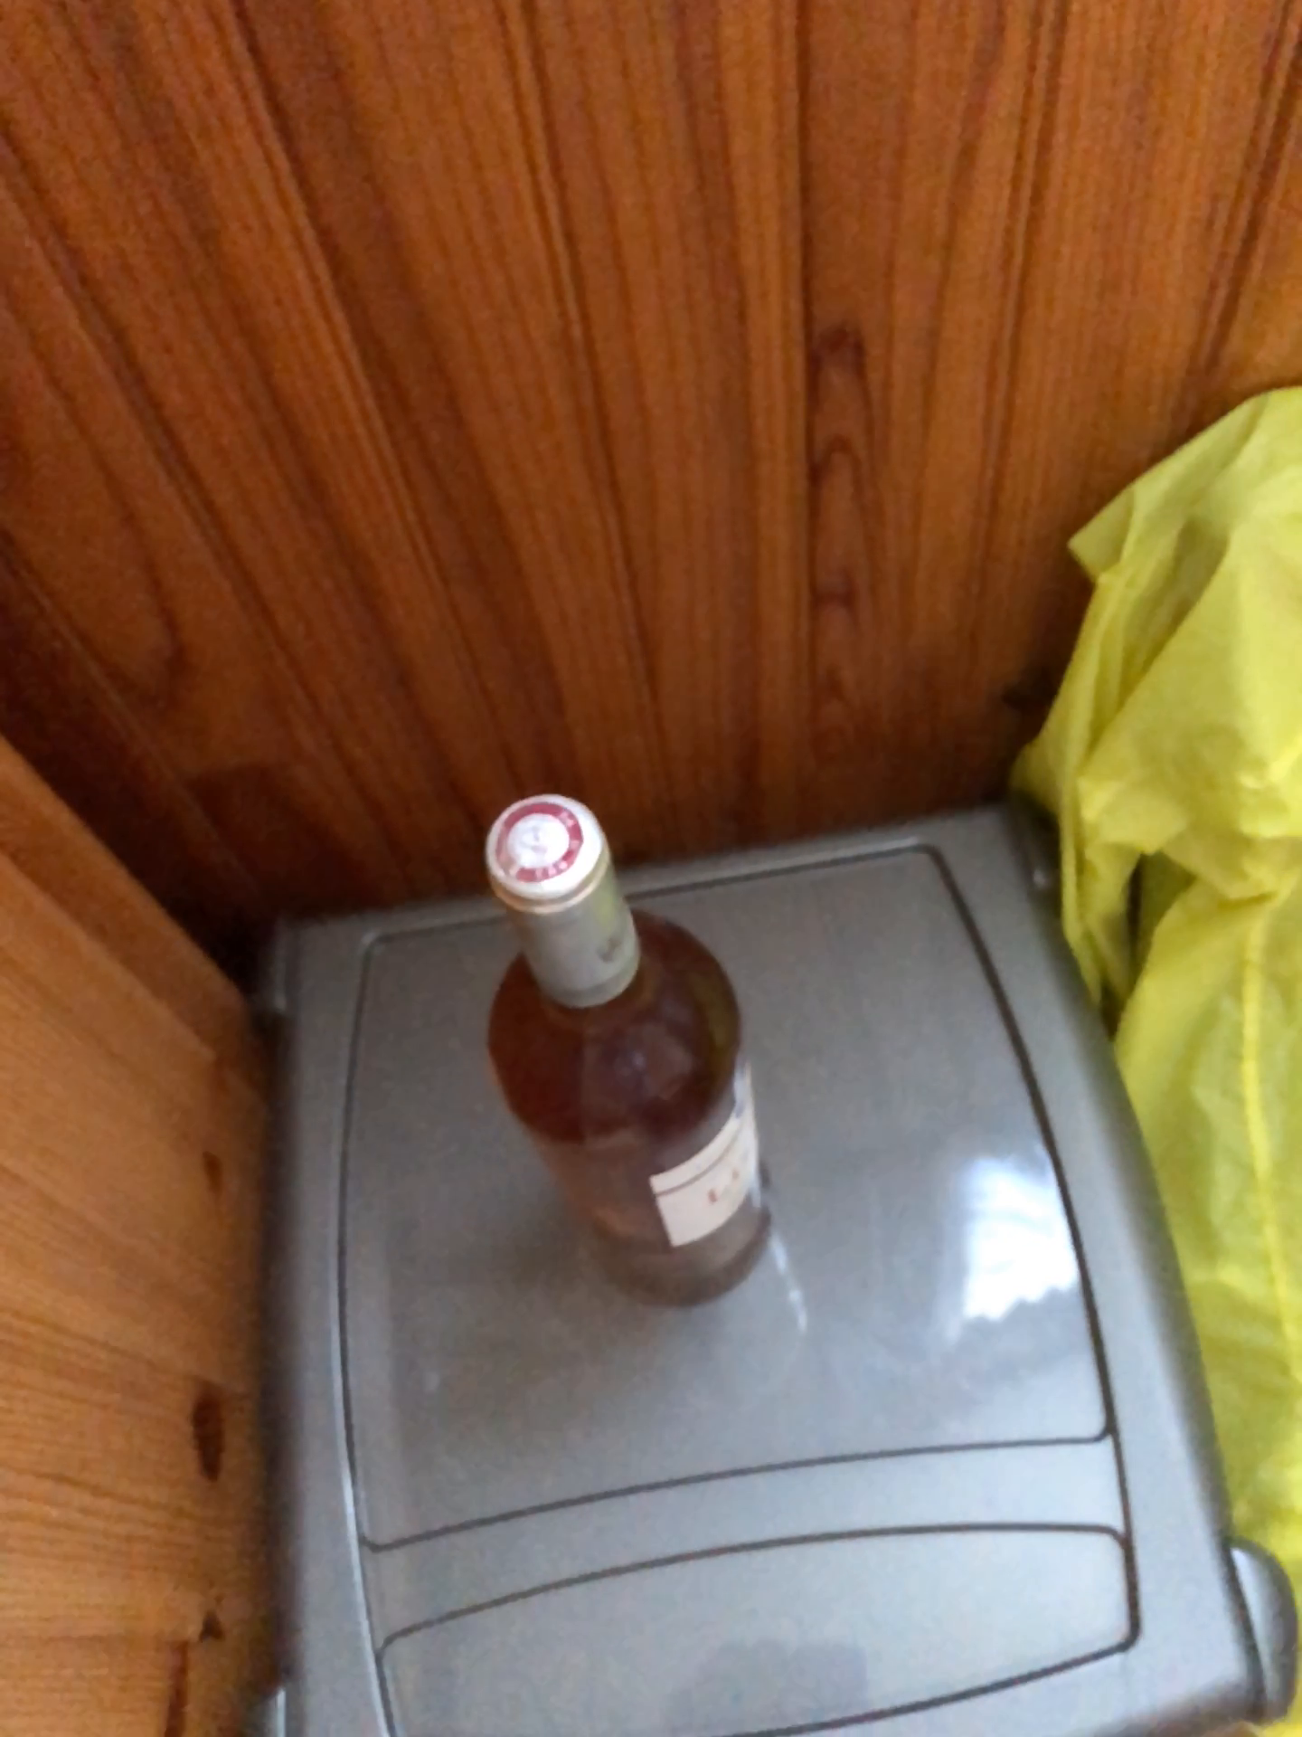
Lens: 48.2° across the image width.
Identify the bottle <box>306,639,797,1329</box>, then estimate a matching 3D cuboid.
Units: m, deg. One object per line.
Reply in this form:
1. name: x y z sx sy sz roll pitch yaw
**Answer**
1. bottle: -0.007 0.063 0.466 0.080 0.319 0.080 -3 61 6
